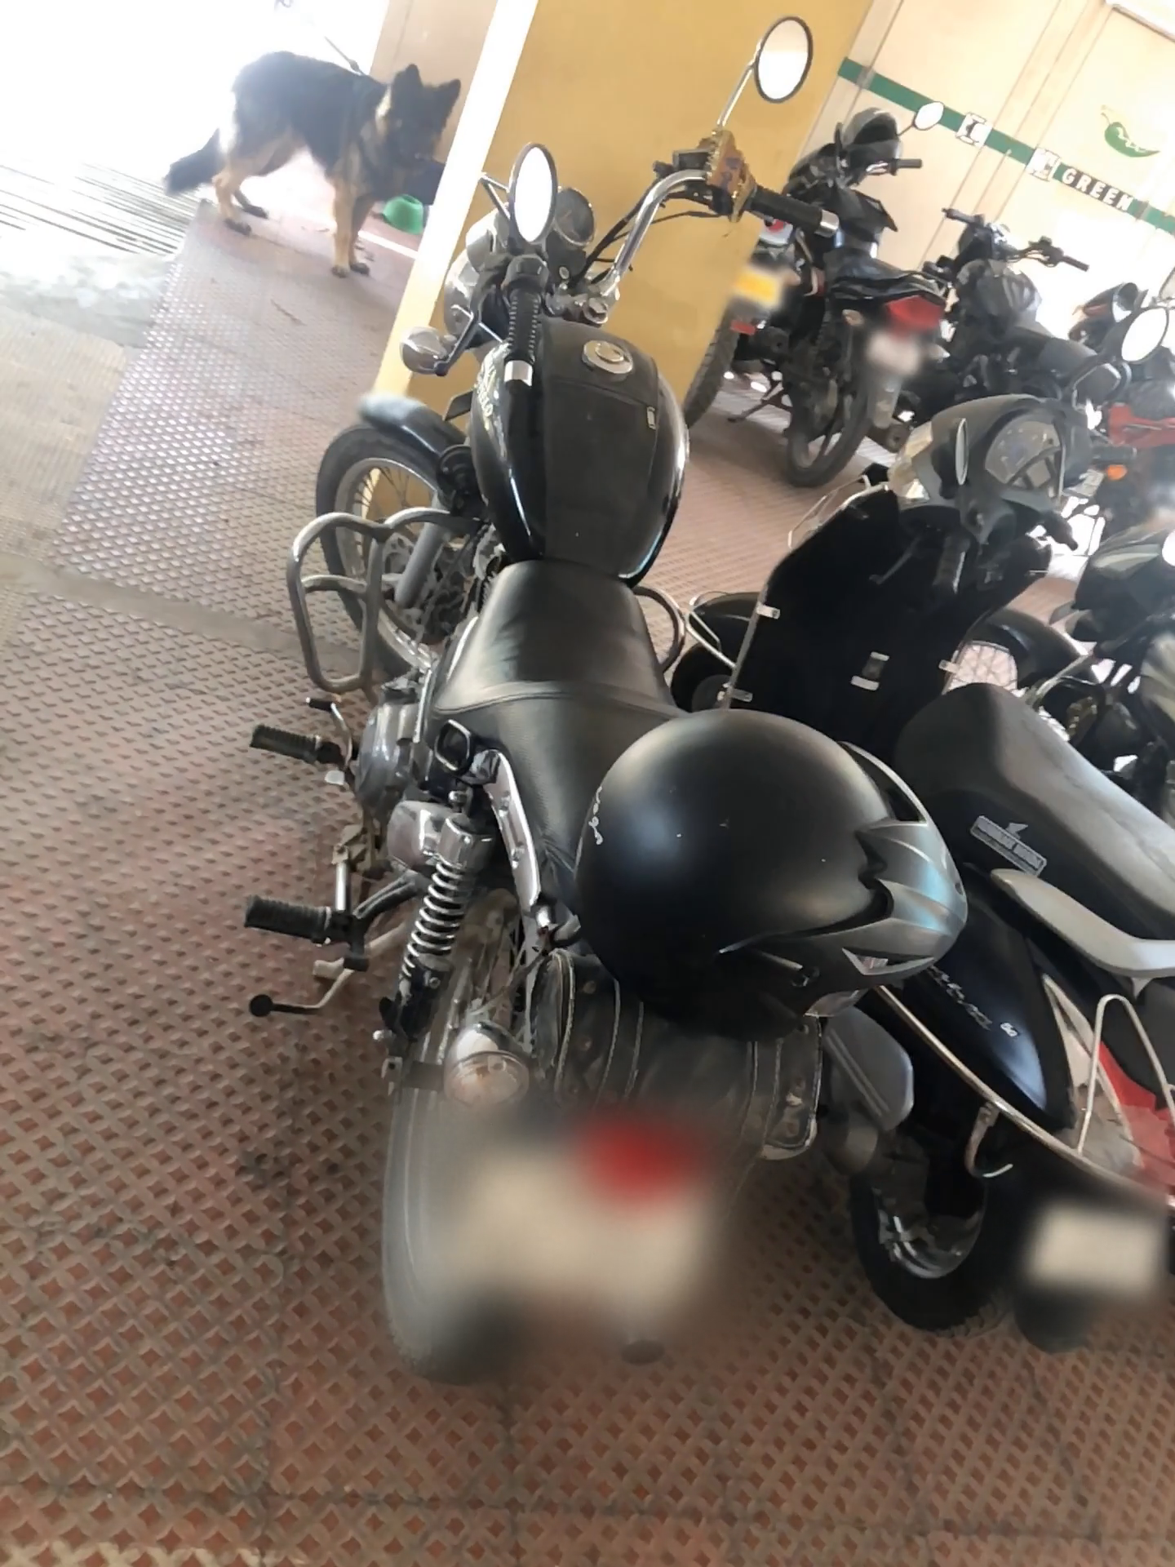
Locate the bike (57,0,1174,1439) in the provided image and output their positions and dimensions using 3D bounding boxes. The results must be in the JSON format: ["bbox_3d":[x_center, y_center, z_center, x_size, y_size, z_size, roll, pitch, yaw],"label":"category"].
[{"bbox_3d":[-0.199,-0.314,1.822,0.784,1.177,1.817,9,39,-25],"label":"bike"}]
